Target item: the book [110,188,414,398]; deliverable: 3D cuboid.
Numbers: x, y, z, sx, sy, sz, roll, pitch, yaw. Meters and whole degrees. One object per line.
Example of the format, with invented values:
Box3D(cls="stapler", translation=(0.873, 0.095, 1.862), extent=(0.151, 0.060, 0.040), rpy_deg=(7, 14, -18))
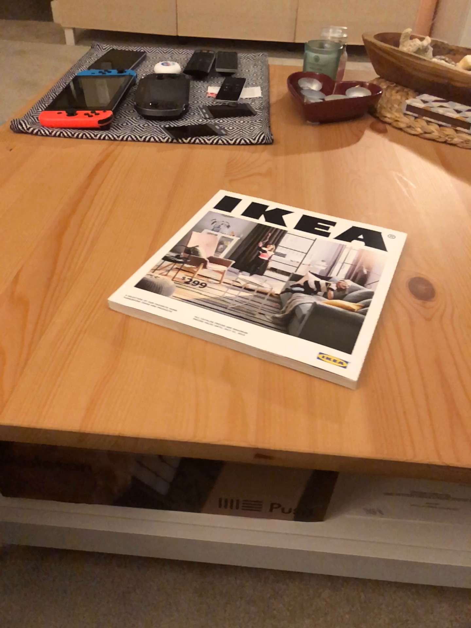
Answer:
Box3D(cls="book", translation=(0.037, -0.040, 0.471), extent=(0.210, 0.015, 0.217), rpy_deg=(17, 42, 16))
